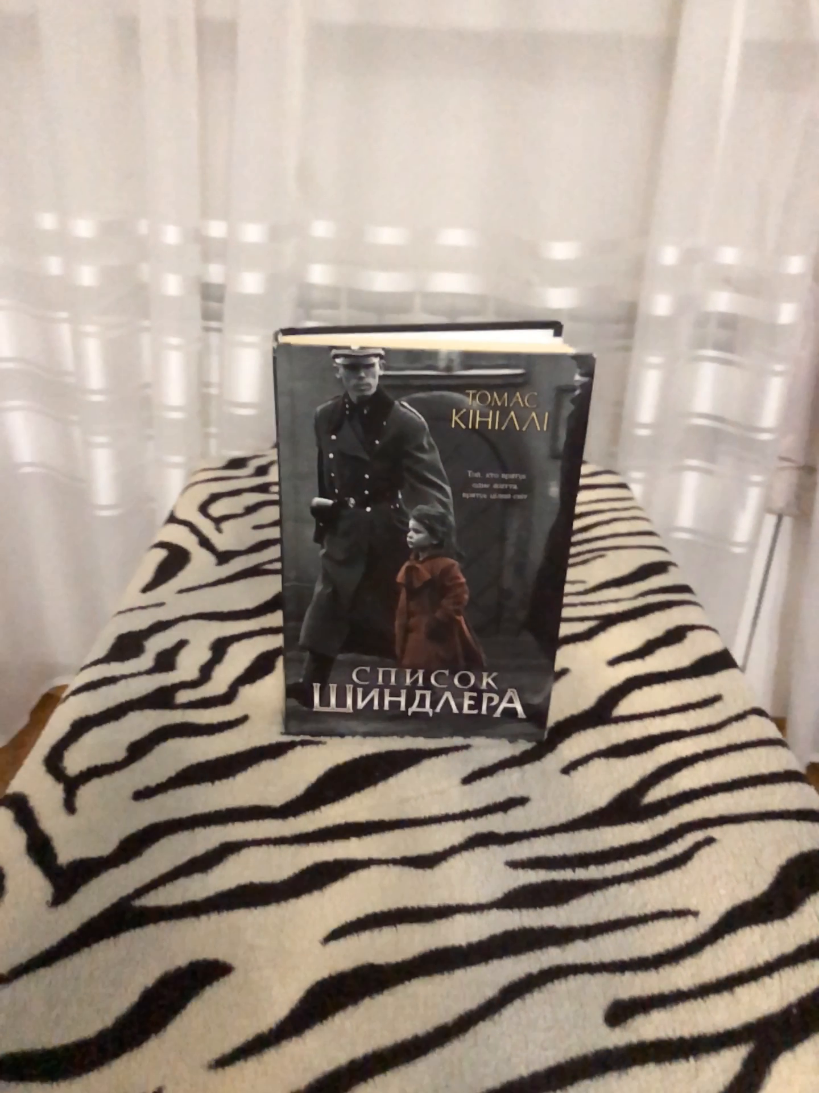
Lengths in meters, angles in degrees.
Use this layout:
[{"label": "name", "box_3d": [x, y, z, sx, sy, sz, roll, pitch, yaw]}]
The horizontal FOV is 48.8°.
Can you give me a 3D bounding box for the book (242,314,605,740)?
[{"label": "book", "box_3d": [0.001, -0.005, 0.424, 0.144, 0.191, 0.057, 0, 28, -5]}]
